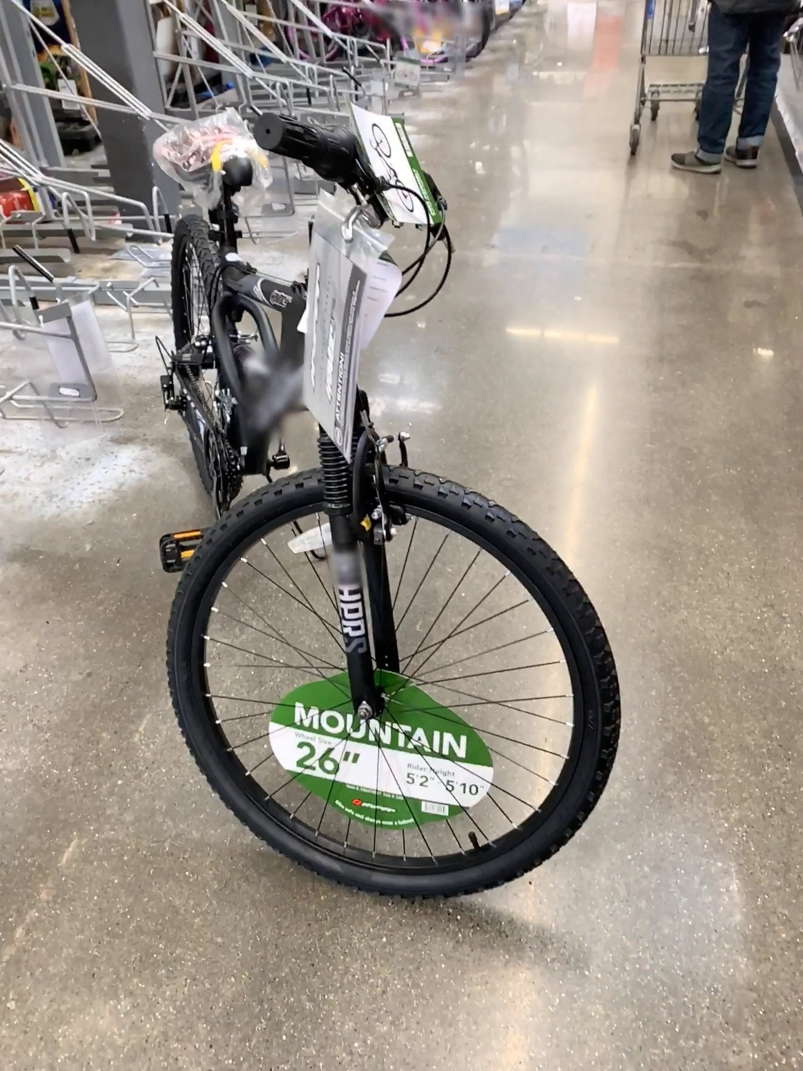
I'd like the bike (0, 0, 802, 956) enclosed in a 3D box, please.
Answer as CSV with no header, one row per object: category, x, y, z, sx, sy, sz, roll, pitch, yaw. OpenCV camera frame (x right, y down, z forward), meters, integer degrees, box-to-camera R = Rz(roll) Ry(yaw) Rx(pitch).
bike,-0.117,-0.322,1.653,0.691,1.089,1.686,-22,44,-24
